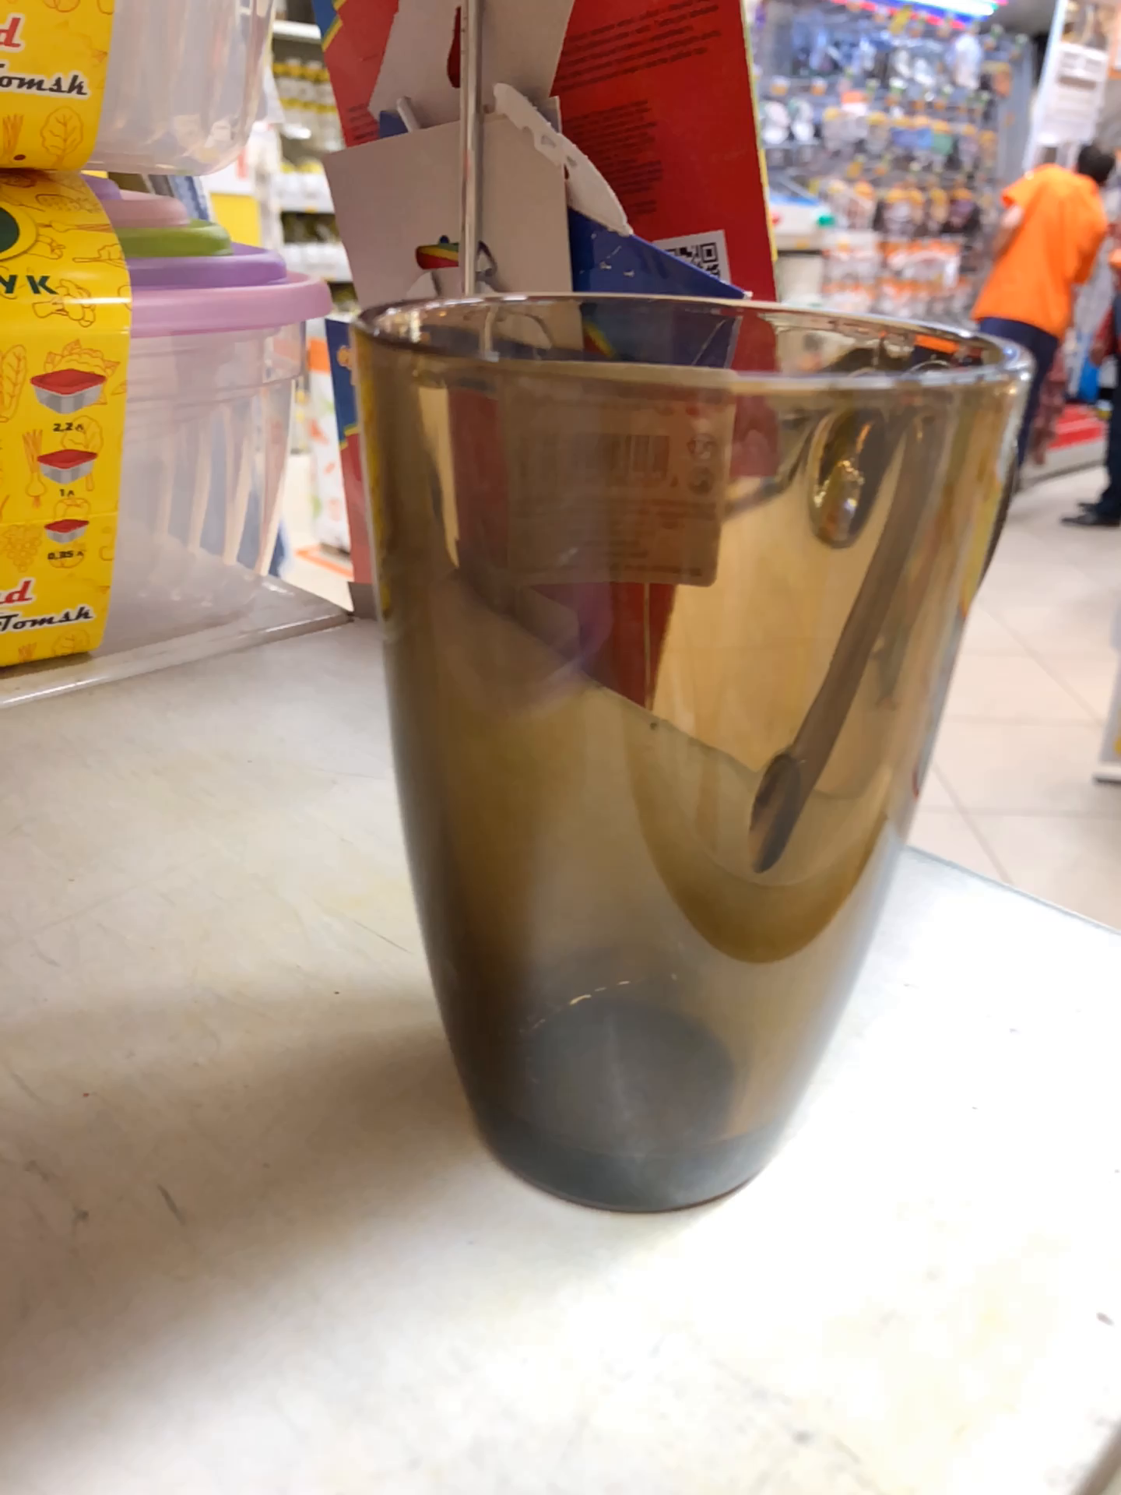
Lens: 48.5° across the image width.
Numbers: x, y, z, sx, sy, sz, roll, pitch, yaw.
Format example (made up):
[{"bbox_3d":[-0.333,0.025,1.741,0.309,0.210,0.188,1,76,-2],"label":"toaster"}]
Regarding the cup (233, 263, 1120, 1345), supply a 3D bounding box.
[{"bbox_3d":[0.026,-0.009,0.172,0.072,0.096,0.112,19,31,30],"label":"cup"}]
